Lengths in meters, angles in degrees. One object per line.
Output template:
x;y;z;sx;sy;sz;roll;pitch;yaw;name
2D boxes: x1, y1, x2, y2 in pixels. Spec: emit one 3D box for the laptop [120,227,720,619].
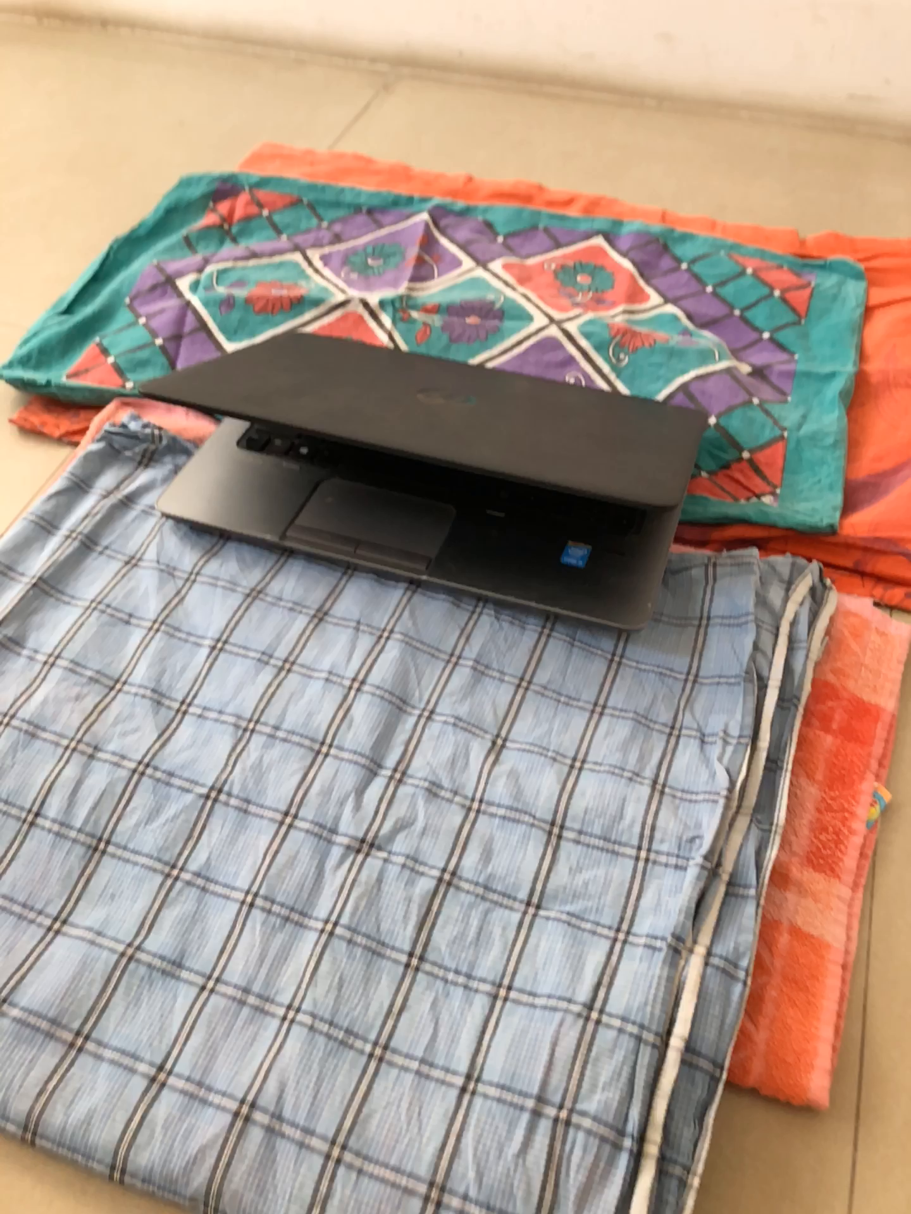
-0.007;-0.134;0.666;0.321;0.099;0.213;15;46;10;laptop
